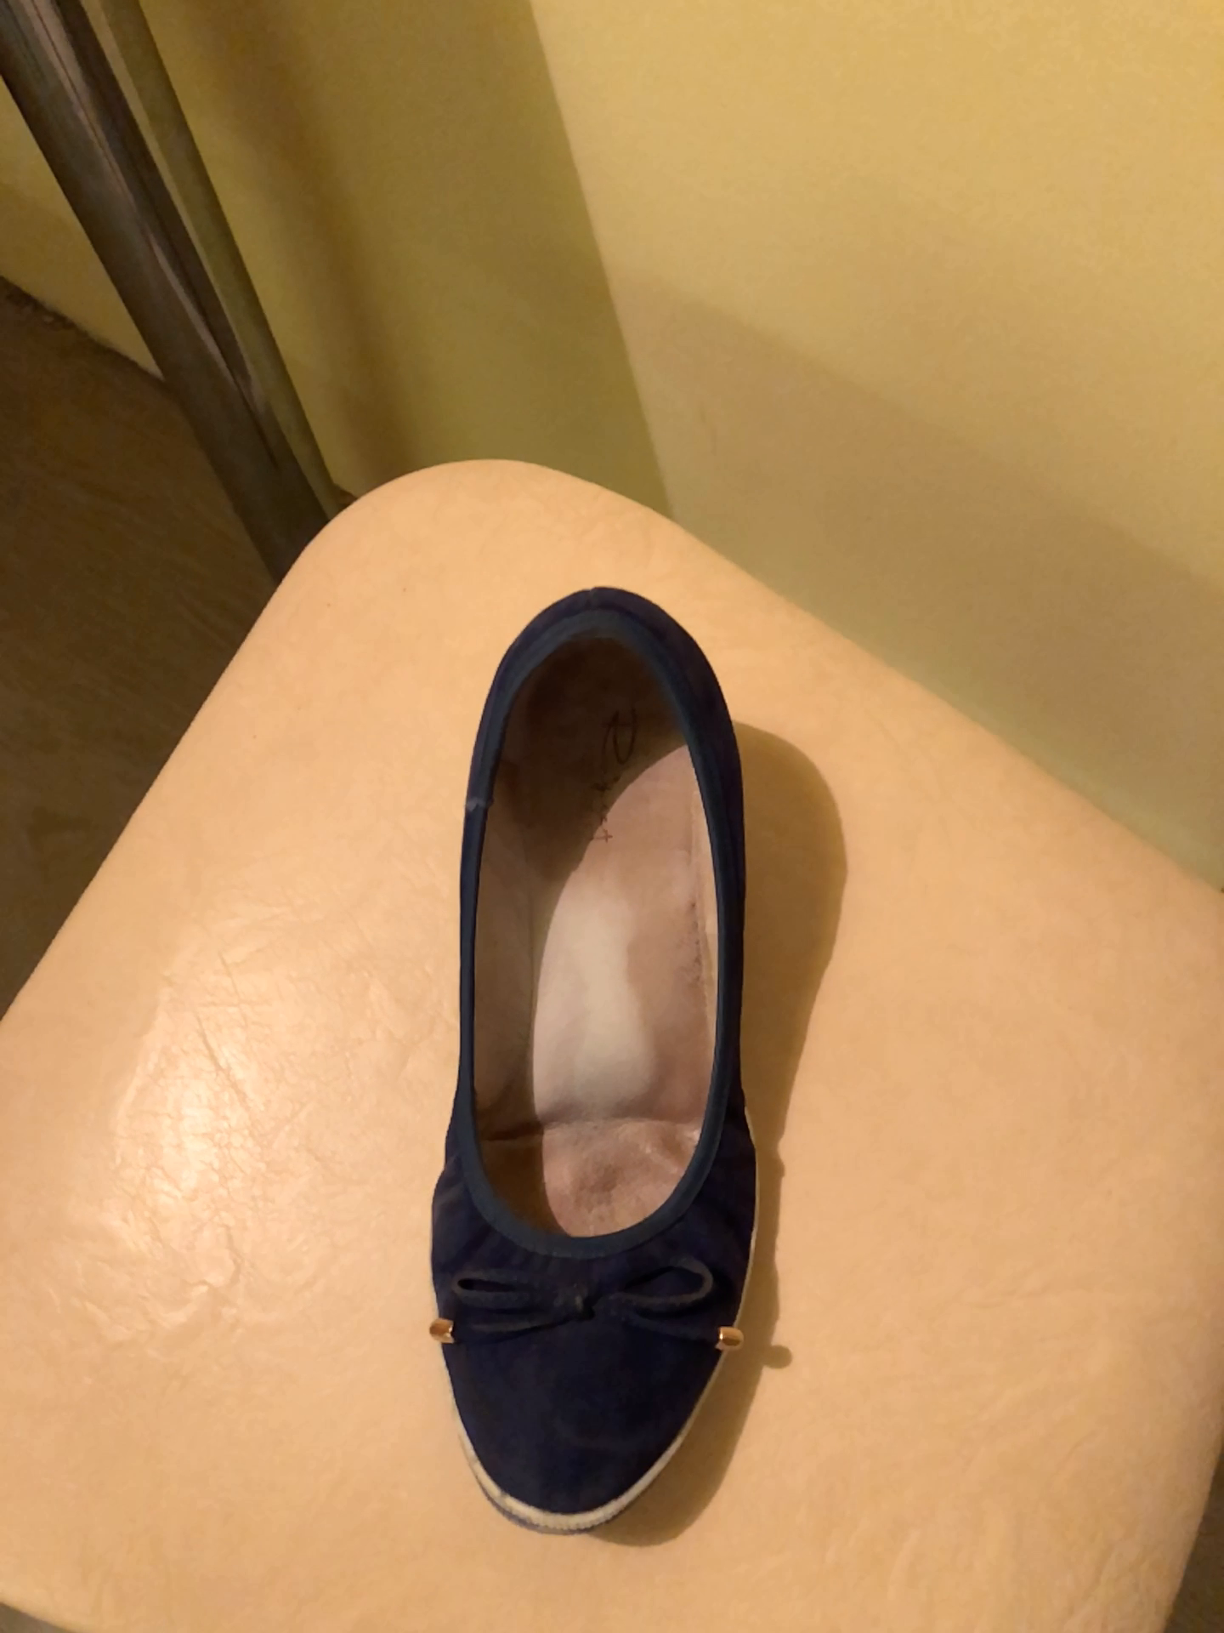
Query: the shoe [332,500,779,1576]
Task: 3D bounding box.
[{"bbox_3d":[-0.006,0.051,0.362,0.090,0.100,0.251,1,69,2],"label":"shoe"}]
